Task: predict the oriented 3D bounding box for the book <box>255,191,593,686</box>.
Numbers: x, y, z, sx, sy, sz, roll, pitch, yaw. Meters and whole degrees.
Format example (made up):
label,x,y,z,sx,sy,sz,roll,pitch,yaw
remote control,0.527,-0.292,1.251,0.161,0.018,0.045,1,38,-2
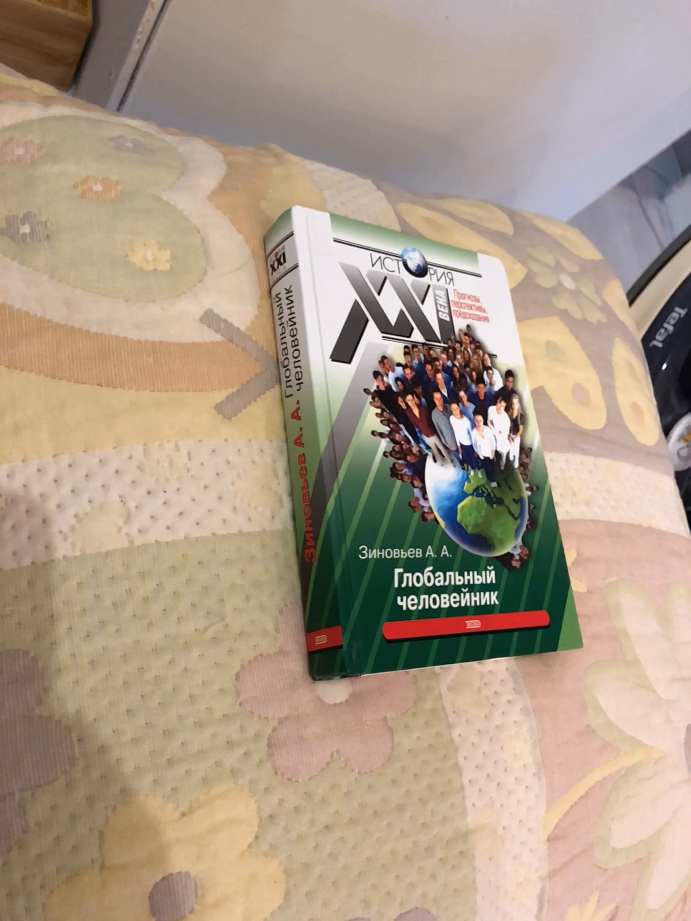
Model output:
label,x,y,z,sx,sy,sz,roll,pitch,yaw
book,0.035,-0.011,0.355,0.134,0.035,0.207,4,70,-33
